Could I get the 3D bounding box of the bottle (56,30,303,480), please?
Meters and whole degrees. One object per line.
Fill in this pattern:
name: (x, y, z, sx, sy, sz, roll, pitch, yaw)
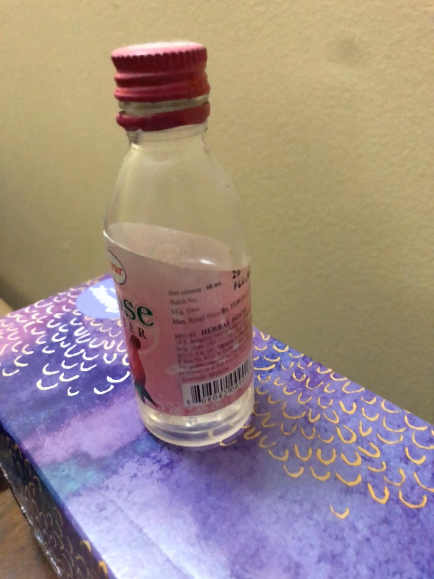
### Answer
bottle: (-0.008, -0.008, 0.125, 0.040, 0.100, 0.040, -2, 28, 1)
